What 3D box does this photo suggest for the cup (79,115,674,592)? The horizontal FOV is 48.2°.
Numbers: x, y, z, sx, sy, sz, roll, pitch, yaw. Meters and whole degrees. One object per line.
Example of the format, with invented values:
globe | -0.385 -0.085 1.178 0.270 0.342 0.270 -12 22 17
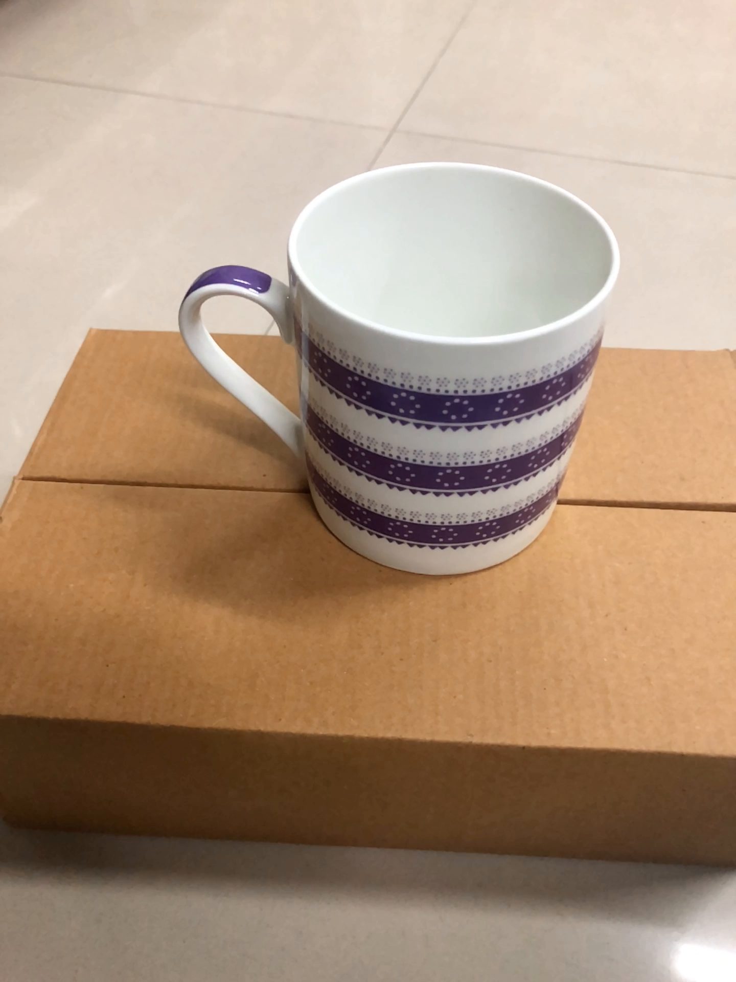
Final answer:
cup | 0.004 -0.038 0.229 0.120 0.089 0.091 3 48 2
